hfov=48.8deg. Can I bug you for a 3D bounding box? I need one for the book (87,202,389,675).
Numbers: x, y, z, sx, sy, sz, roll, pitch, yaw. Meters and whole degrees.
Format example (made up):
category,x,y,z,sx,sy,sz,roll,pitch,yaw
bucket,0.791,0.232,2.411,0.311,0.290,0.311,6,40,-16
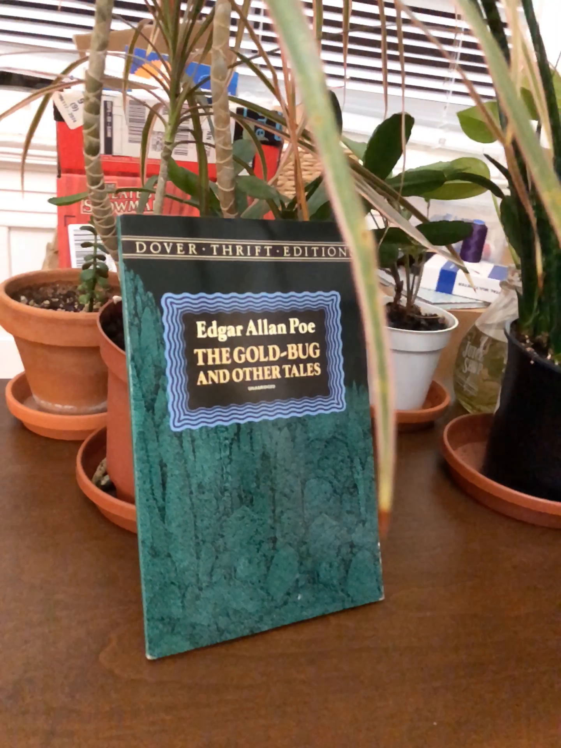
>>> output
category,x,y,z,sx,sy,sz,roll,pitch,yaw
book,-0.016,0.024,0.311,0.140,0.210,0.020,-4,1,-24
